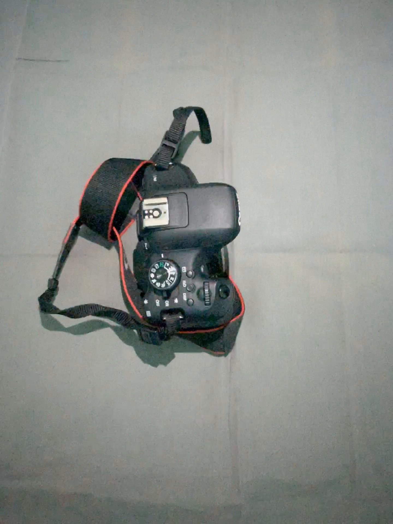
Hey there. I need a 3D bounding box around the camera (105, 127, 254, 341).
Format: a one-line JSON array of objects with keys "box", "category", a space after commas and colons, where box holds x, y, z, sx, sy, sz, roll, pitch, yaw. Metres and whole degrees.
[{"box": [-0.014, -0.015, 0.306, 0.090, 0.088, 0.132, -4, 73, 0], "category": "camera"}]
